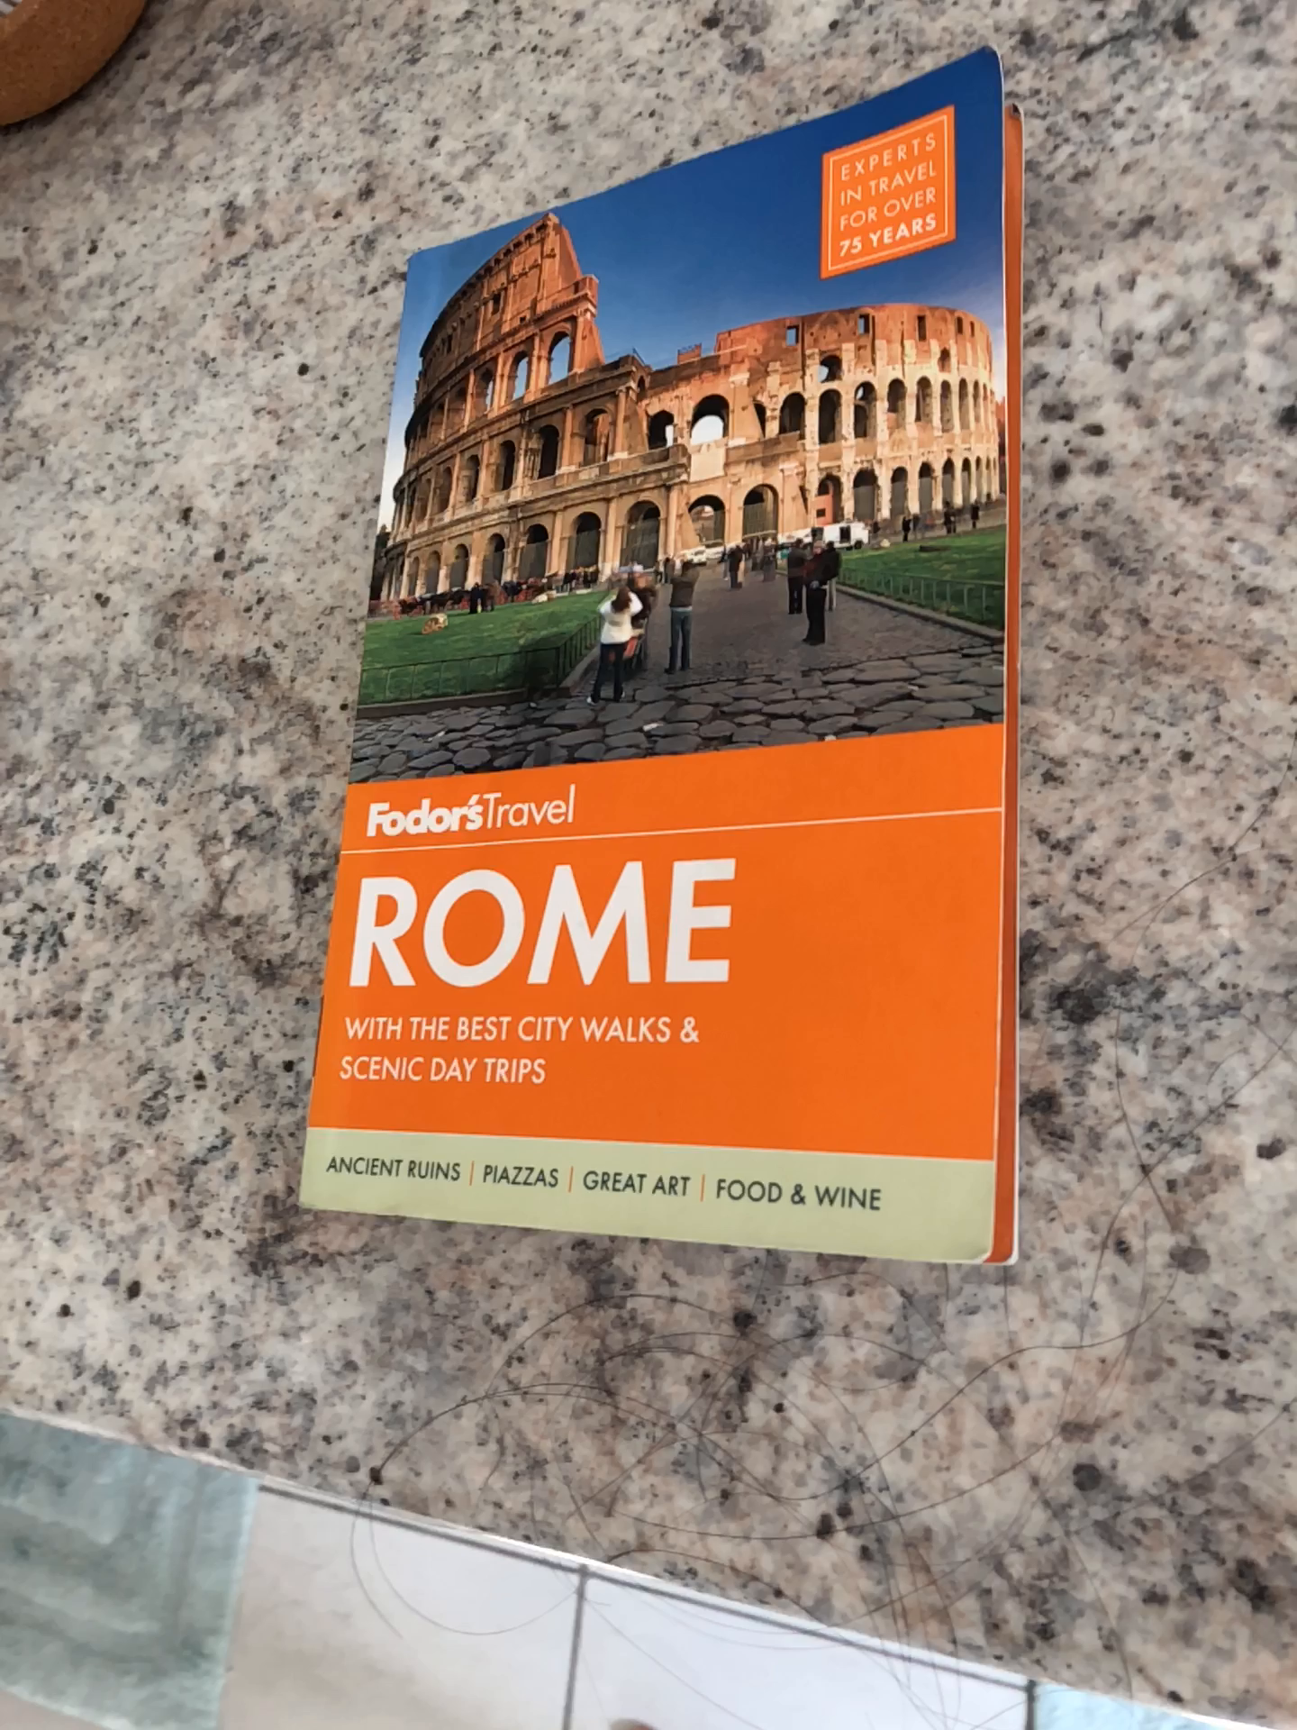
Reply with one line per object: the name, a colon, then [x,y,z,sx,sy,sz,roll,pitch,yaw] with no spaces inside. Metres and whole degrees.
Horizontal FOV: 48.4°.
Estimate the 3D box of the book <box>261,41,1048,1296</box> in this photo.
book: [0.001,-0.034,0.269,0.139,0.024,0.207,-3,76,30]
